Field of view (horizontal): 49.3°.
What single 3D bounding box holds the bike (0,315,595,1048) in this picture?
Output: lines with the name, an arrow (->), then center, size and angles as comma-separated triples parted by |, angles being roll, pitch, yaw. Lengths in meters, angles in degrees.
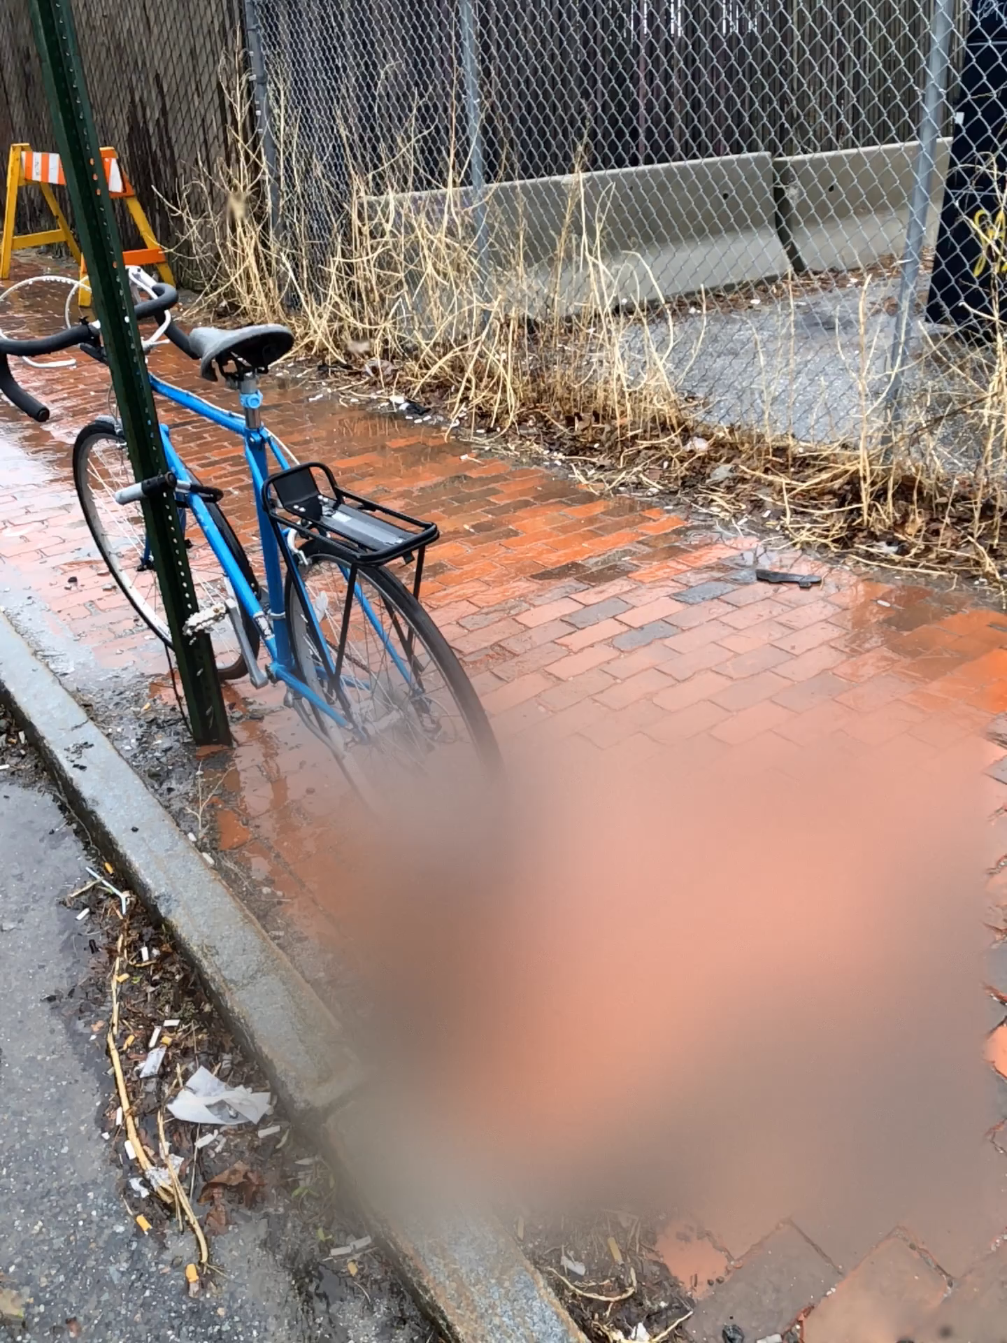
bike -> -0.613, -0.172, 2.434 | 0.473, 0.919, 1.870 | -22, 33, -33
